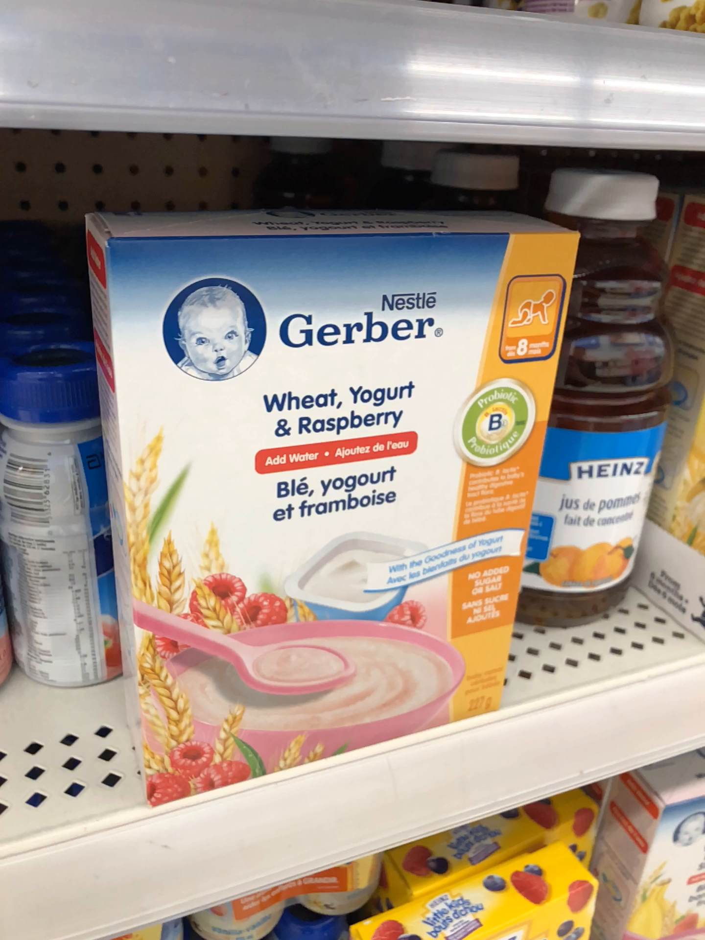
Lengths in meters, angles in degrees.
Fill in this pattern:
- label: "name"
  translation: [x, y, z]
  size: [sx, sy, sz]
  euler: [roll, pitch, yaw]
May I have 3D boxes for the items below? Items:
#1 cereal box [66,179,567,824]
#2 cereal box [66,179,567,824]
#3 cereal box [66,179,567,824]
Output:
- label: "cereal box"
  translation: [-0.015, 0.009, 0.272]
  size: [0.140, 0.199, 0.050]
  euler: [-7, 25, -23]
- label: "cereal box"
  translation: [-0.015, 0.009, 0.272]
  size: [0.140, 0.199, 0.050]
  euler: [-7, 25, -23]
- label: "cereal box"
  translation: [-0.015, 0.009, 0.272]
  size: [0.140, 0.199, 0.050]
  euler: [-7, 25, -23]
